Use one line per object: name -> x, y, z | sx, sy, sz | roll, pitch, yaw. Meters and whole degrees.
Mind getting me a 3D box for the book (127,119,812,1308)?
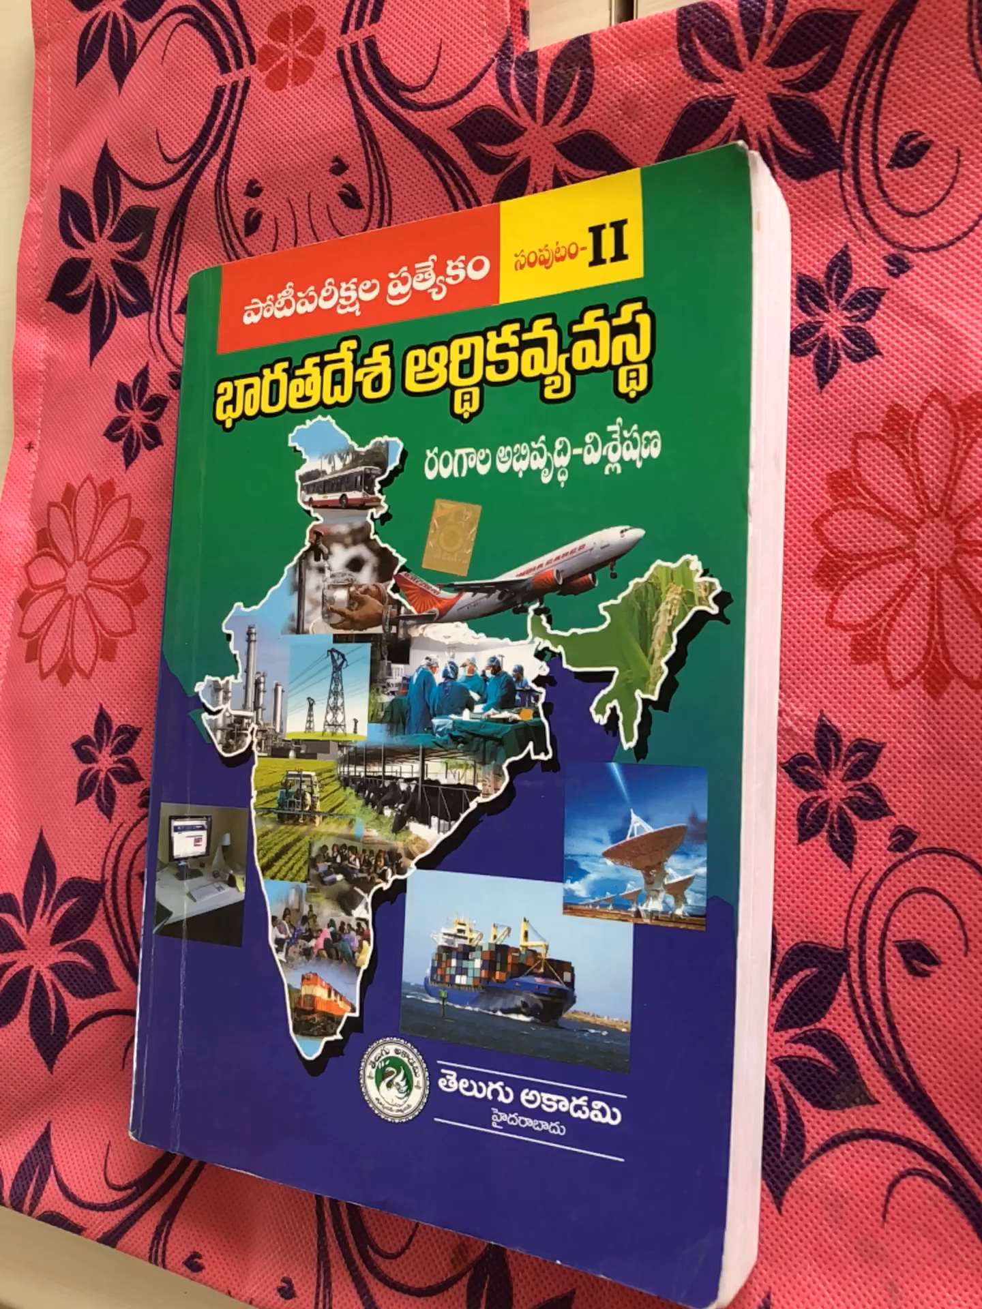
book -> -0.011, 0.013, 0.312 | 0.190, 0.040, 0.280 | 0, 86, 27
